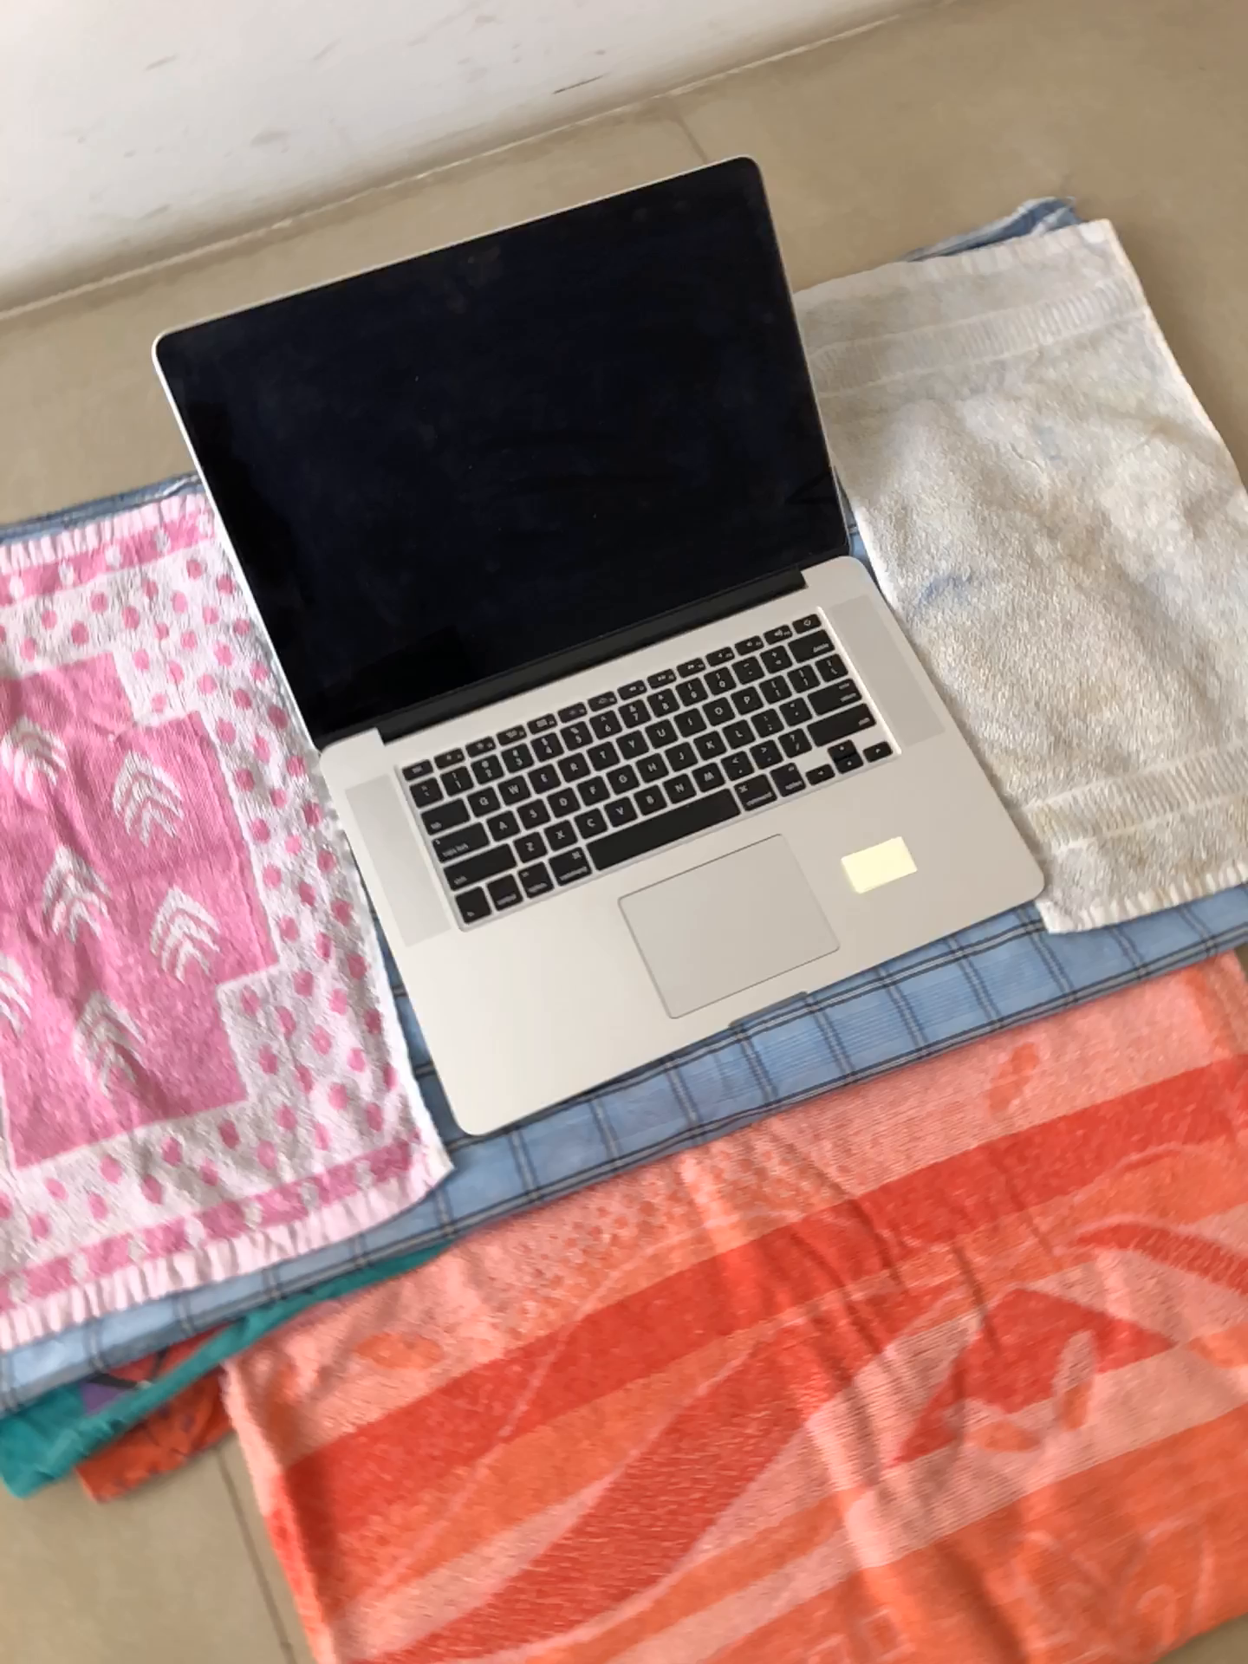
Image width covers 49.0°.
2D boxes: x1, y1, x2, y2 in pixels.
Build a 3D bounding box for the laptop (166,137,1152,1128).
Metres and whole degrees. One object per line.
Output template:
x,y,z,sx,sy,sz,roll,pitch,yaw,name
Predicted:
0.000,-0.115,0.733,0.343,0.144,0.413,-22,72,-8,laptop
